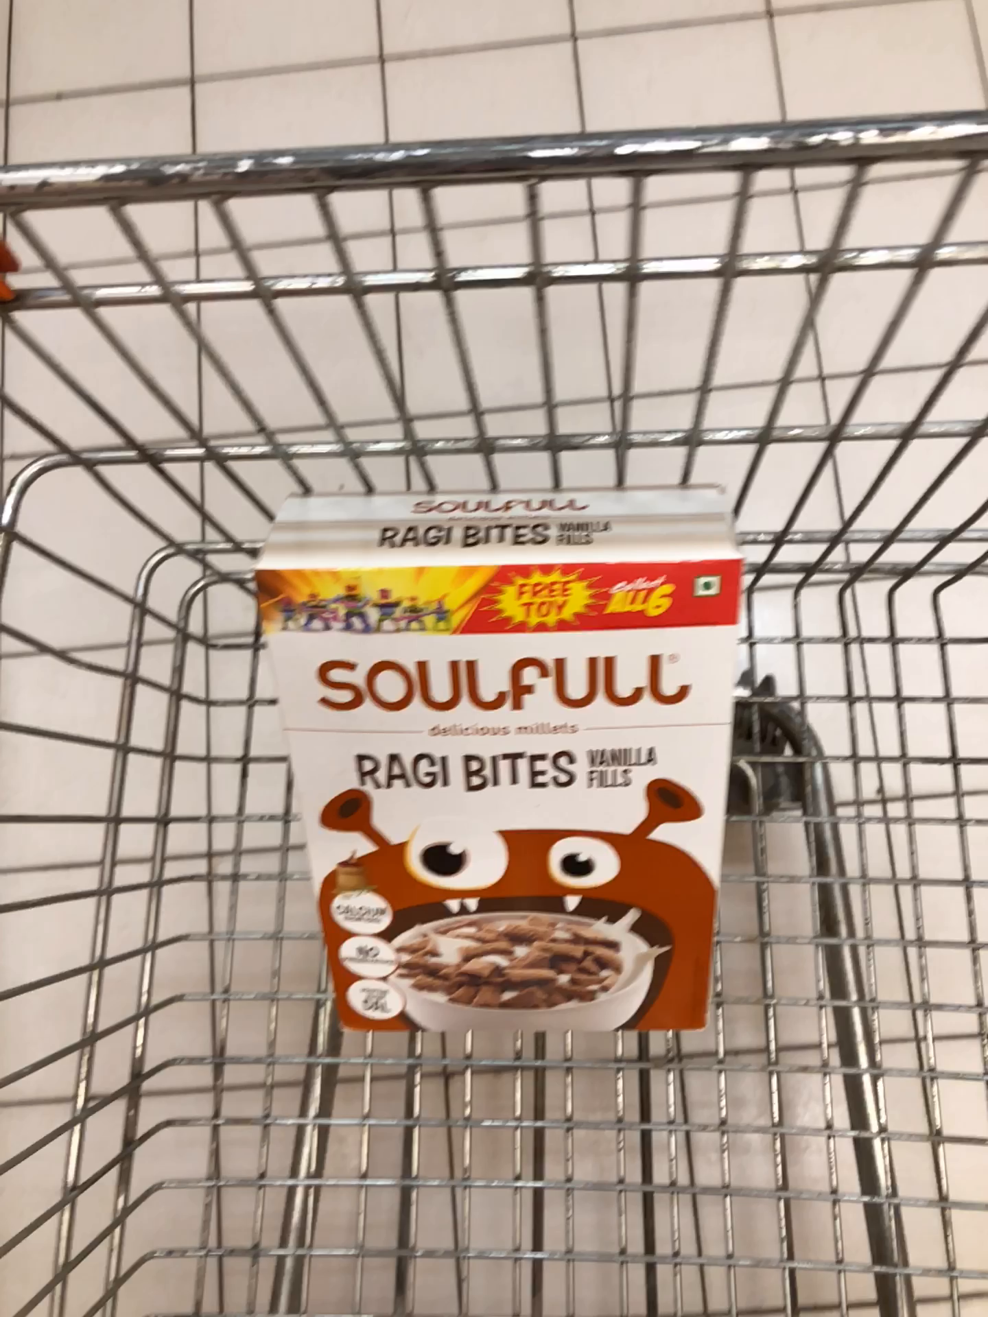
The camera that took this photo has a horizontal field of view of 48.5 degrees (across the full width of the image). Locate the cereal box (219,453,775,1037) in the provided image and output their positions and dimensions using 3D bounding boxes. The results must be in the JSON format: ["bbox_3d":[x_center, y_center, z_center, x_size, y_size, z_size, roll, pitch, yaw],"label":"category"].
[{"bbox_3d":[0.006,0.048,0.454,0.180,0.249,0.070,-1,35,2],"label":"cereal box"}]
